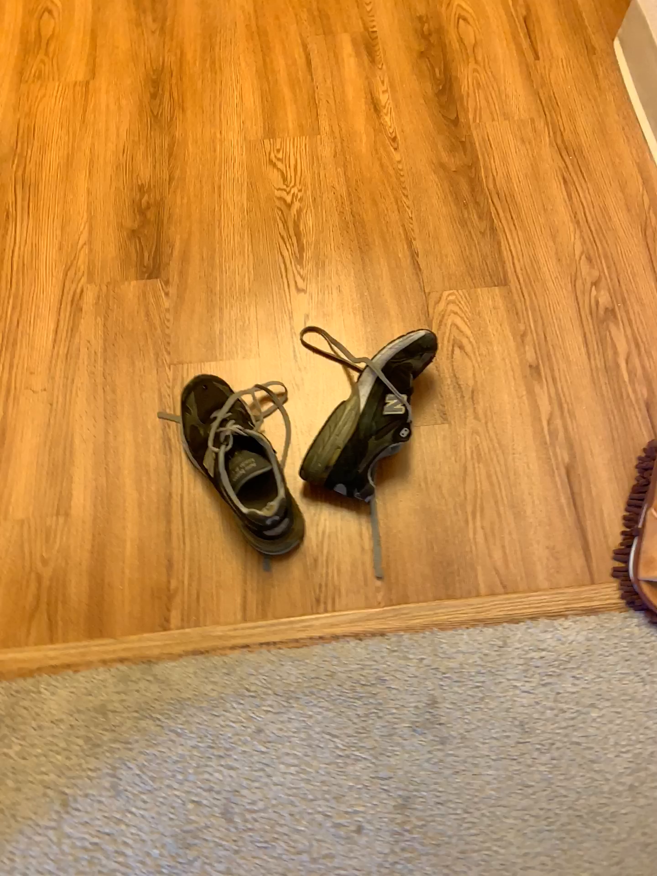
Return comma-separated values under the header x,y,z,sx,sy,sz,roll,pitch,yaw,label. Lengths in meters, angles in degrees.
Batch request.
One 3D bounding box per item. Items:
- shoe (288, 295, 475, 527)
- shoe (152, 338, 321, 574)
x,y,z,sx,sy,sz,roll,pitch,yaw,label
0.091,-0.045,1.031,0.120,0.130,0.320,28,69,23,shoe
-0.142,0.031,1.073,0.120,0.170,0.321,-27,69,-11,shoe
